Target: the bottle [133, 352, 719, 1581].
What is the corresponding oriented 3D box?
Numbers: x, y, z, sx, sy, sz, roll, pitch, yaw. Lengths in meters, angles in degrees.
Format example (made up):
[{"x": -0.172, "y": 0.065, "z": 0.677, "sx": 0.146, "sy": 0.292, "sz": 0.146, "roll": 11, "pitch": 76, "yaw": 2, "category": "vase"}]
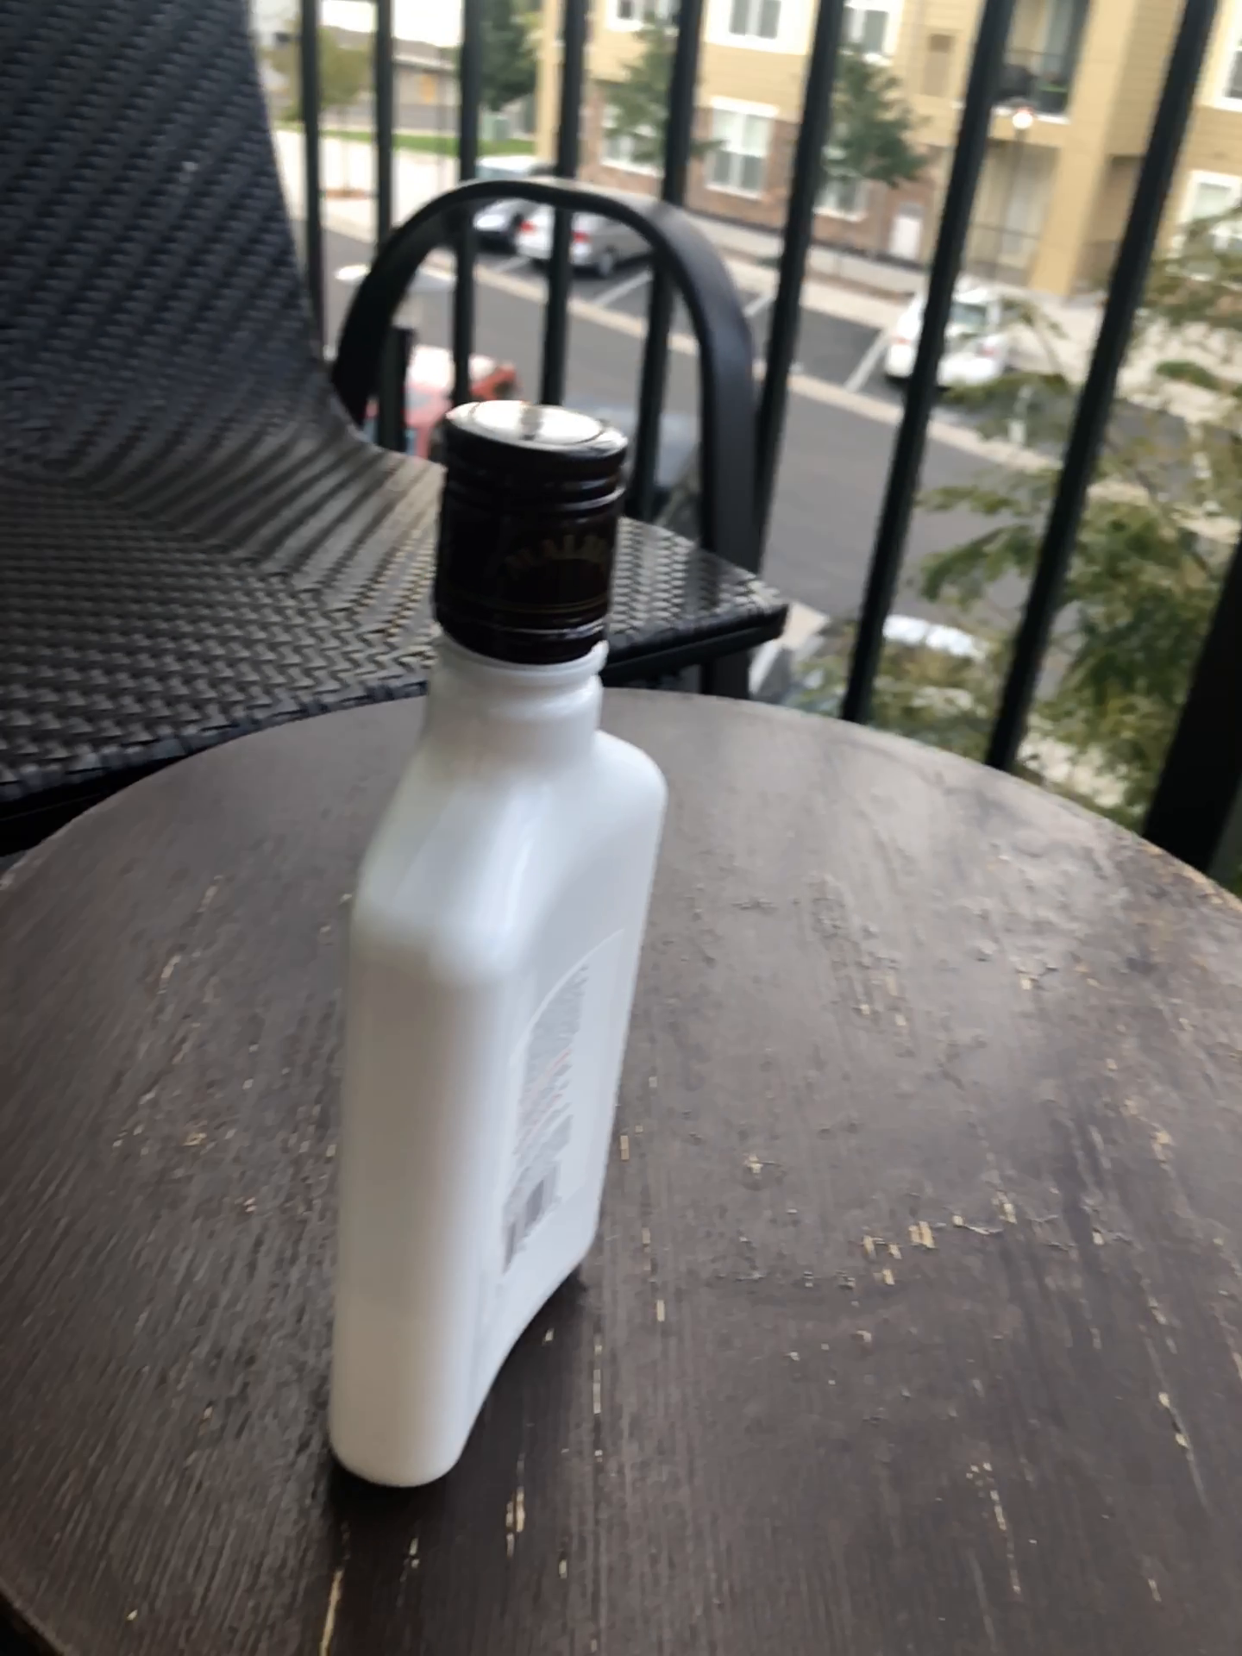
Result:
[{"x": -0.032, "y": 0.030, "z": 0.264, "sx": 0.045, "sy": 0.210, "sz": 0.101, "roll": 16, "pitch": 32, "yaw": 17, "category": "bottle"}]
